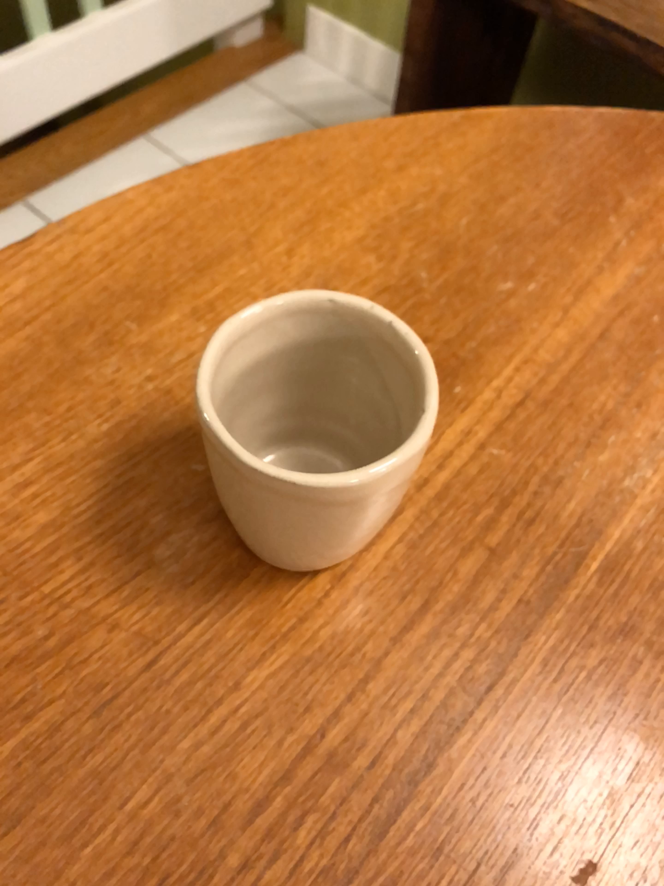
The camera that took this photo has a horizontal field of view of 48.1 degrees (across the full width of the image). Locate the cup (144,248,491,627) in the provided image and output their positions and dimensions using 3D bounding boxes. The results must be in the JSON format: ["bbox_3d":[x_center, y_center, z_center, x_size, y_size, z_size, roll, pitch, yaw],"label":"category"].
[{"bbox_3d":[-0.006,-0.001,0.285,0.084,0.086,0.083,3,57,-4],"label":"cup"}]
